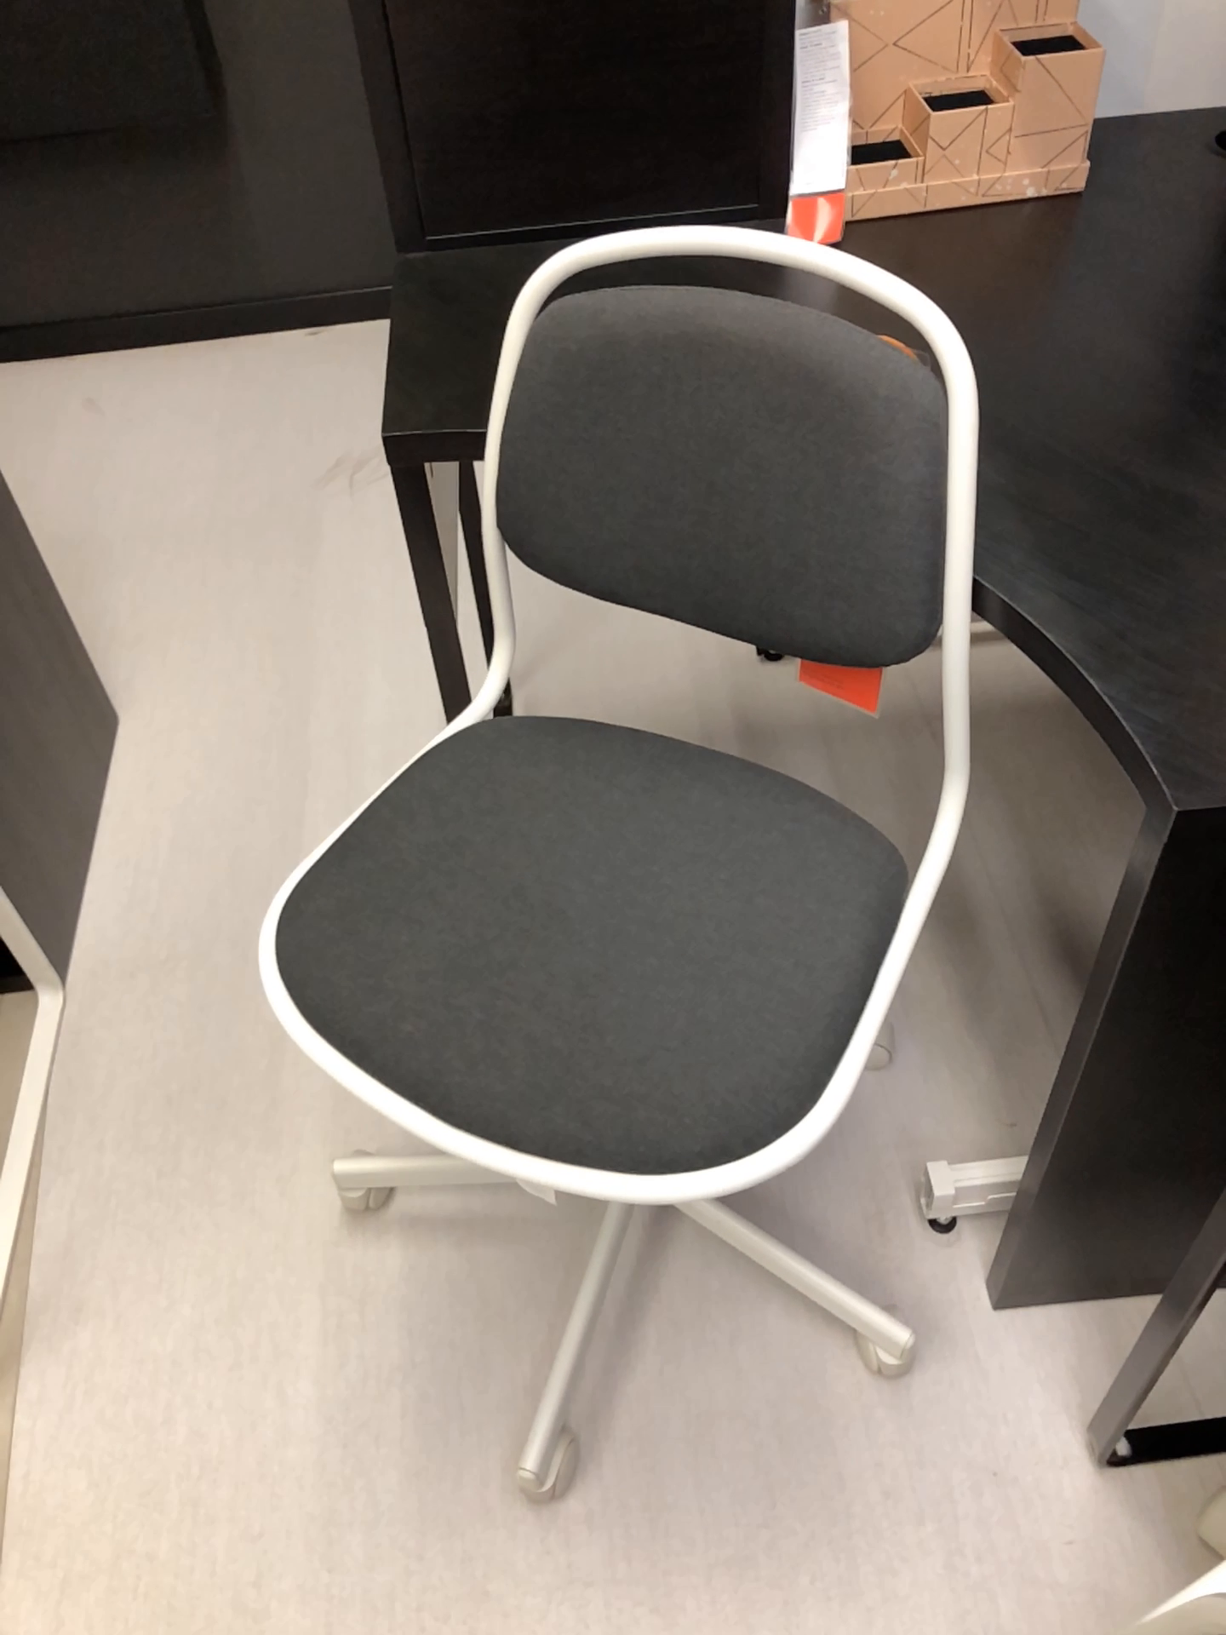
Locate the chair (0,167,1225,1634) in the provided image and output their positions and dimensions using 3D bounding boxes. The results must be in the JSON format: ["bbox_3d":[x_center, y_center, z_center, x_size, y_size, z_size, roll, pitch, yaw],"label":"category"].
[{"bbox_3d":[-0.010,0.101,1.089,0.661,0.904,0.623,16,51,19],"label":"chair"}]
